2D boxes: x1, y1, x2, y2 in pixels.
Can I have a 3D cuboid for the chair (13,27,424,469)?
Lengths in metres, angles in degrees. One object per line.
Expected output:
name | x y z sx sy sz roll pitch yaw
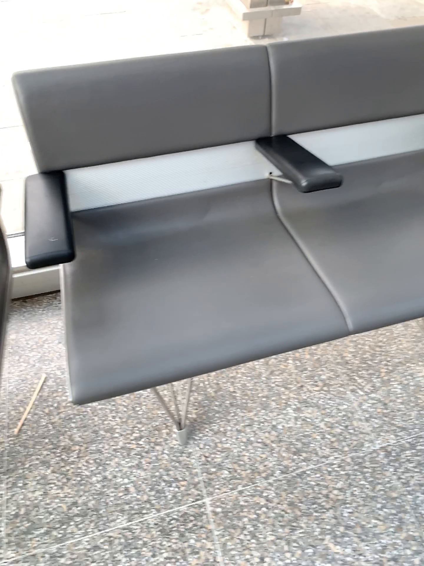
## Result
chair | 0.172 -0.147 1.266 1.201 0.713 0.827 -12 52 -11
